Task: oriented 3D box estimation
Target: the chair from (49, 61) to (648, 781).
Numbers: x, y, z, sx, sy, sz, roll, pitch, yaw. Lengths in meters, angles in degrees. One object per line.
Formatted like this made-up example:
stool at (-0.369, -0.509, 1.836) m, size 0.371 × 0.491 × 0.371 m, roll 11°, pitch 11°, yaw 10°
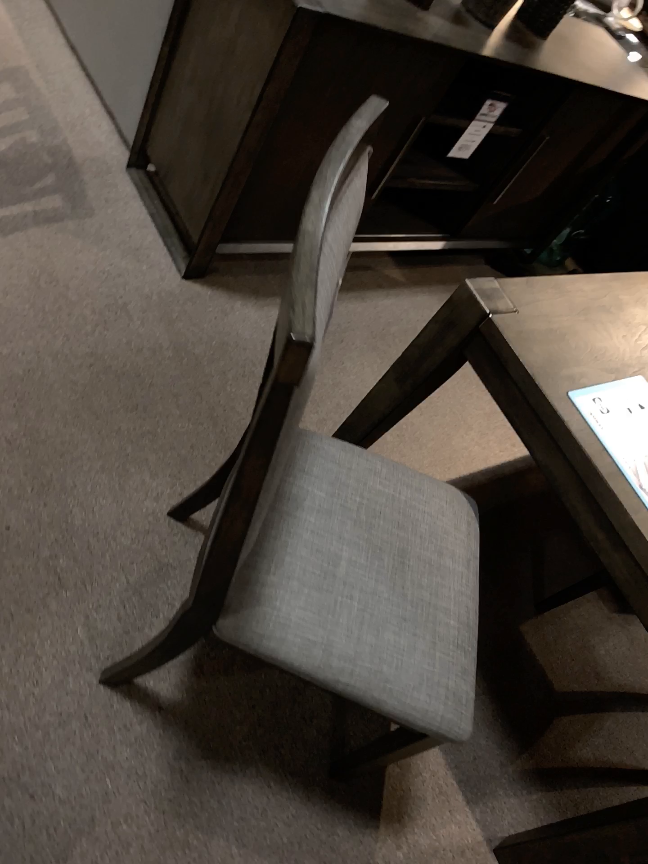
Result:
chair at (0.049, 0.127, 1.091) m, size 0.643 × 0.997 × 0.516 m, roll 25°, pitch 47°, yaw -14°
